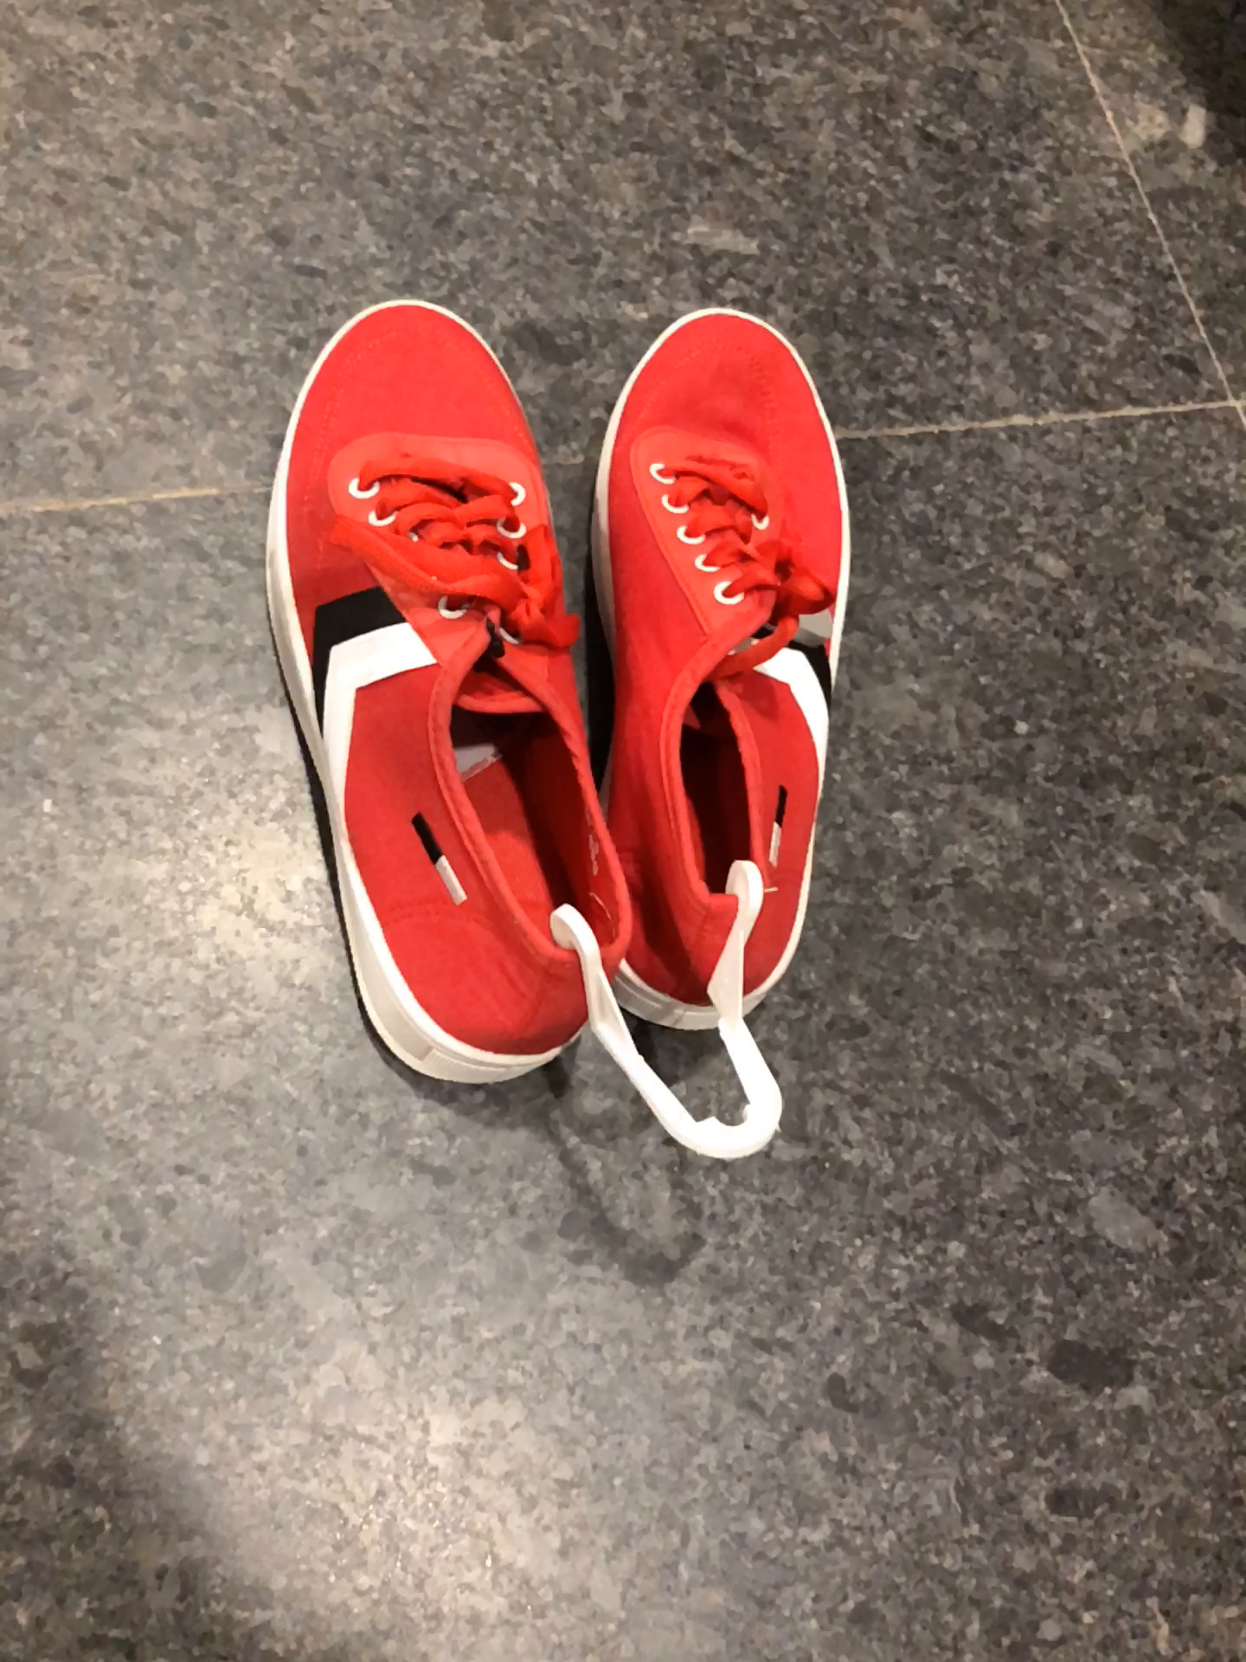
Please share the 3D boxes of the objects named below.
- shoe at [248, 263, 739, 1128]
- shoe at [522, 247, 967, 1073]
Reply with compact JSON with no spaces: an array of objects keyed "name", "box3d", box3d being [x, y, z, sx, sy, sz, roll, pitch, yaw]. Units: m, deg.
[{"name":"shoe","box3d":[-0.049,-0.041,0.415,0.101,0.090,0.233,-4,71,-19]},{"name":"shoe","box3d":[0.038,-0.052,0.443,0.103,0.090,0.234,9,68,-14]}]
